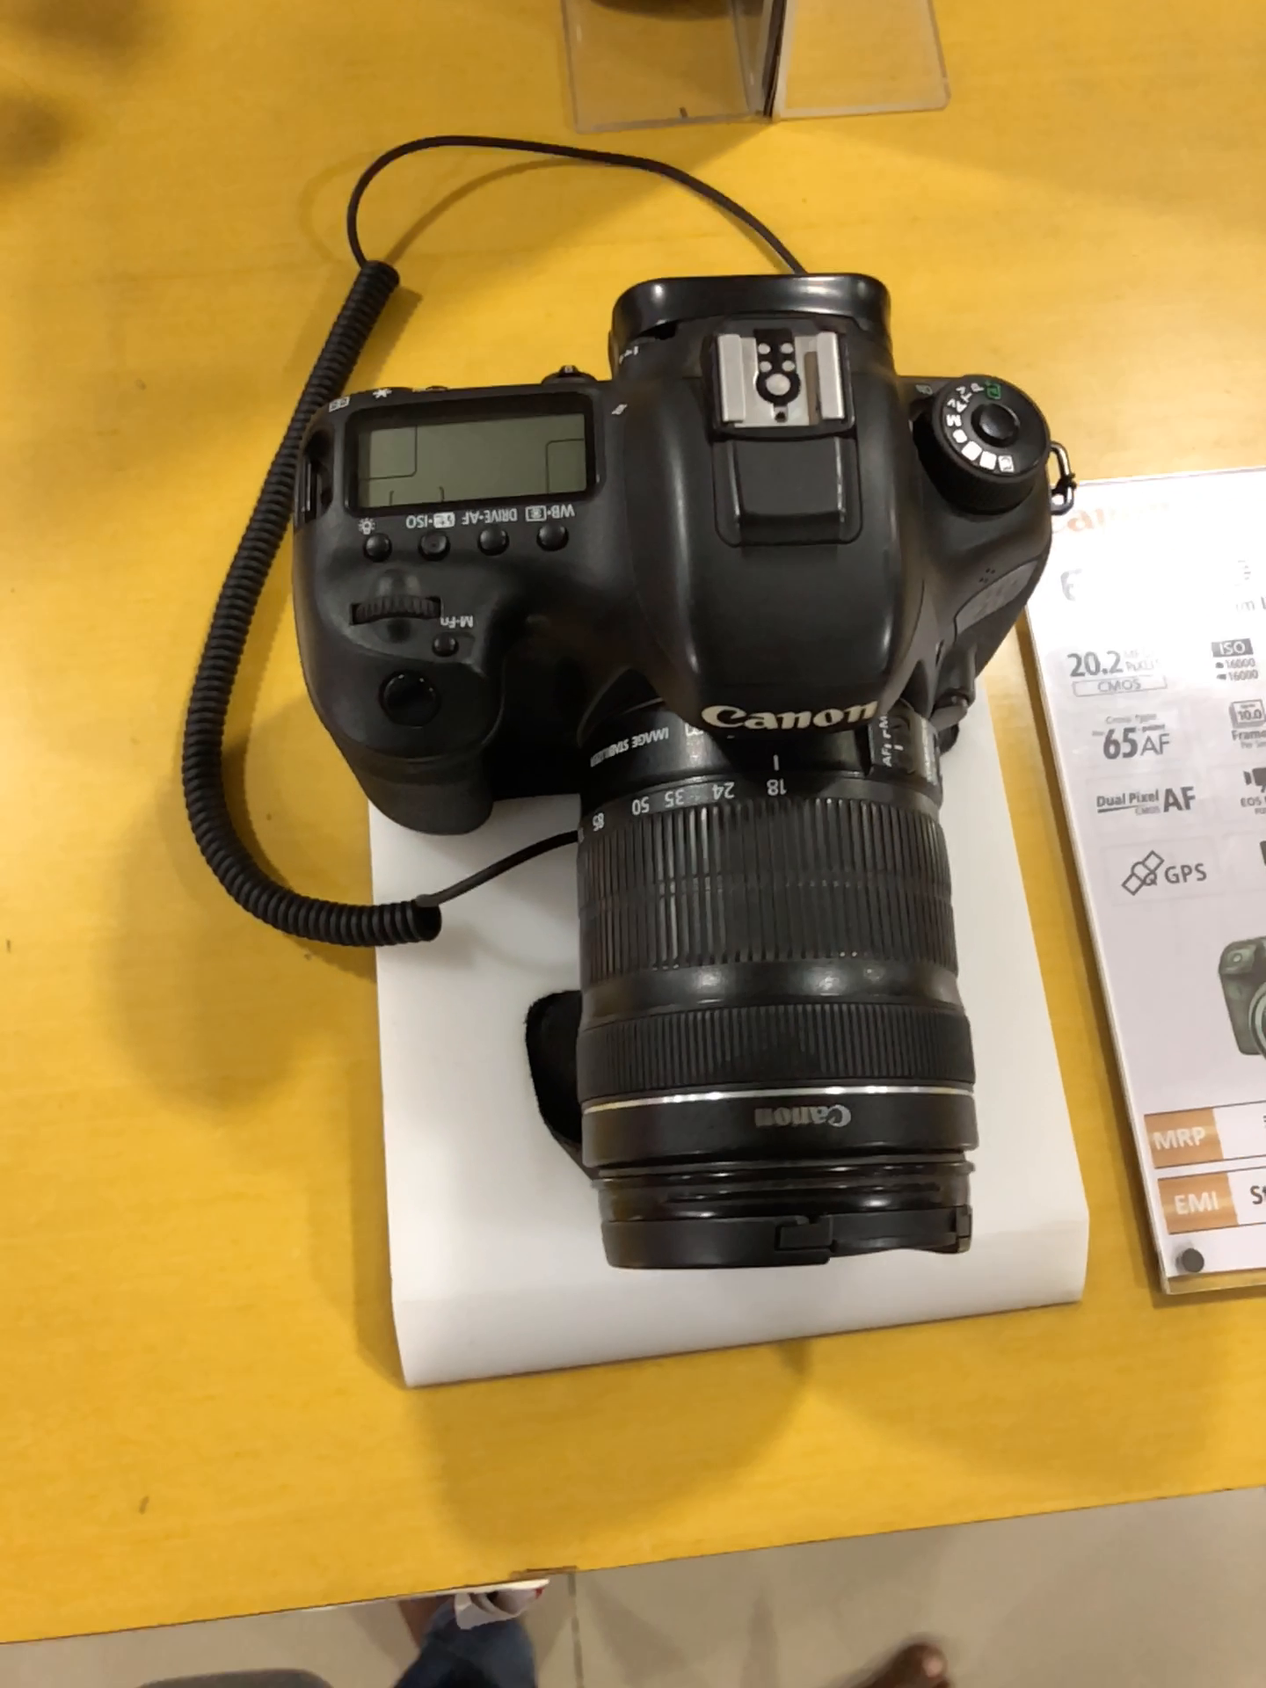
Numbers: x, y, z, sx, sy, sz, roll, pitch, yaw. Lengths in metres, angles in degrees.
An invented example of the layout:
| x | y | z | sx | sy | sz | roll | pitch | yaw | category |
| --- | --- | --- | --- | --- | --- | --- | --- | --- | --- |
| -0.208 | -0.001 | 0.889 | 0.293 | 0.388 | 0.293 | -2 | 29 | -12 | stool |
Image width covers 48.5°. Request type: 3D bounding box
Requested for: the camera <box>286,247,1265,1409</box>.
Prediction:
| x | y | z | sx | sy | sz | roll | pitch | yaw | category |
| --- | --- | --- | --- | --- | --- | --- | --- | --- | --- |
| 0.014 | 0.001 | 0.261 | 0.130 | 0.110 | 0.170 | -5 | 74 | -3 | camera |
